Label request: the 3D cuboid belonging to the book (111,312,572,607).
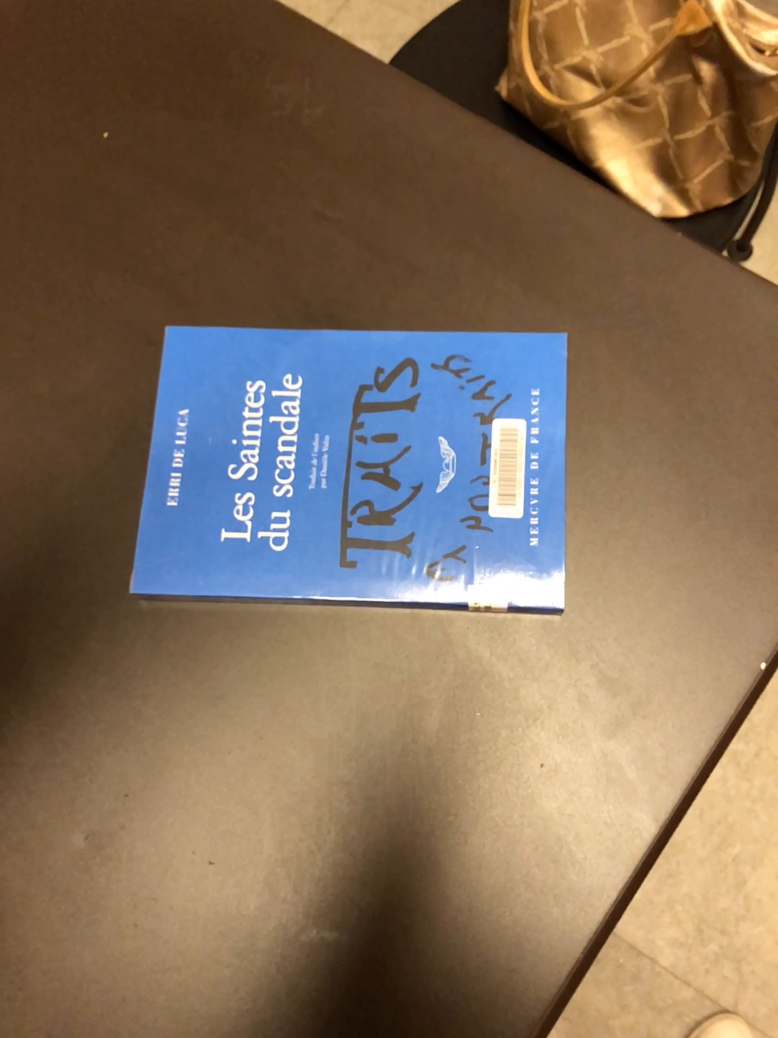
[{"bbox_3d":[-0.020,-0.033,0.424,0.215,0.017,0.144,1,75,5],"label":"book"}]
